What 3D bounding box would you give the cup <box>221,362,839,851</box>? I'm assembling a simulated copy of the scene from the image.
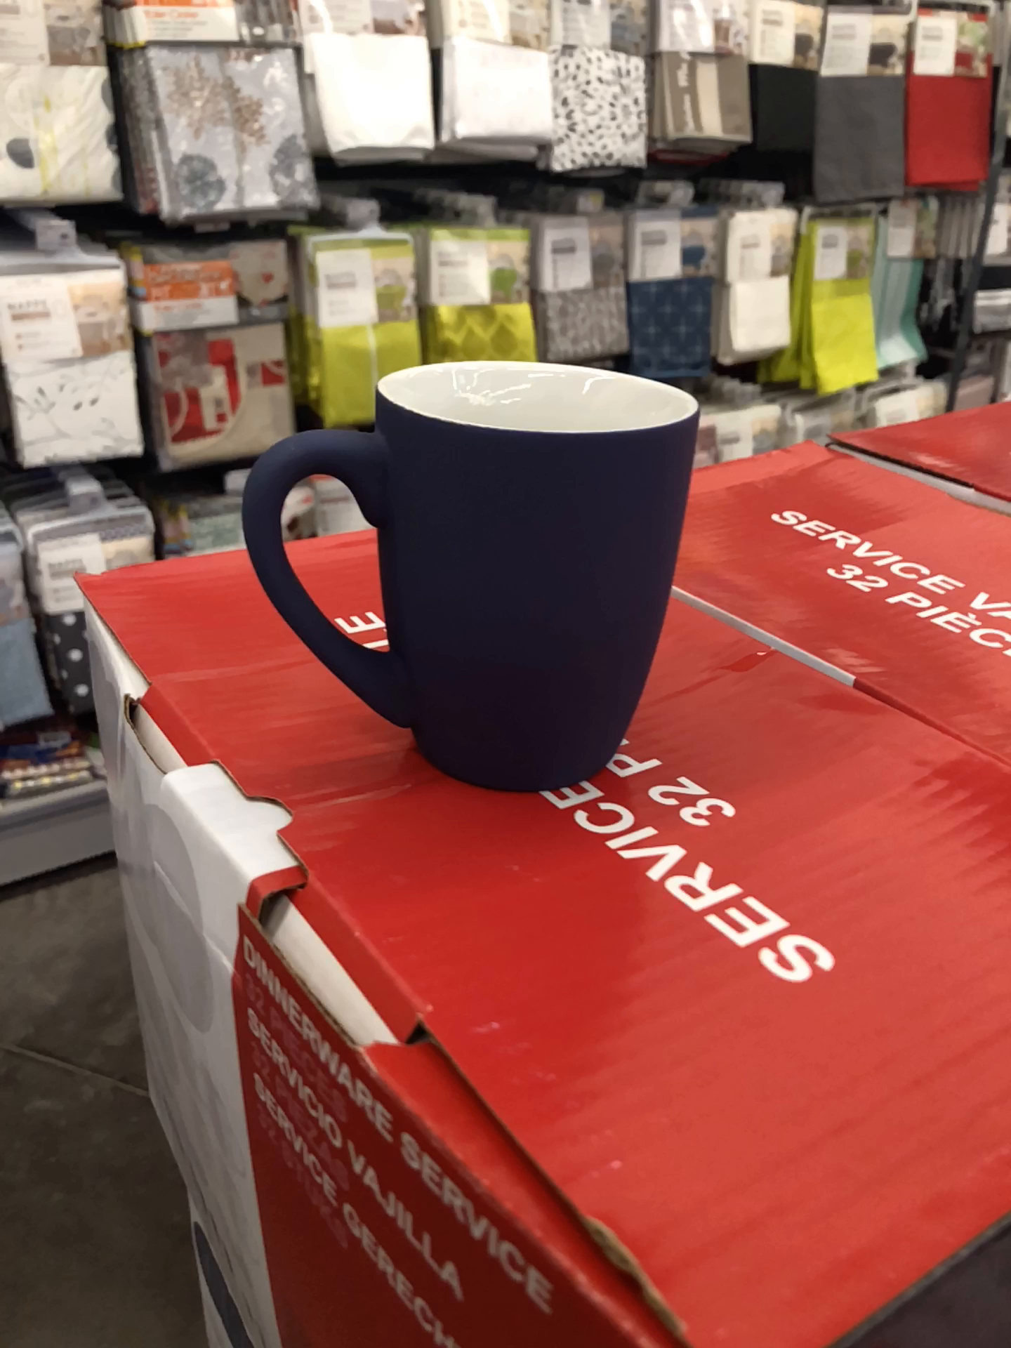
[{"bbox_3d":[0.000,-0.027,0.284,0.121,0.088,0.091,-8,25,-24],"label":"cup"}]
